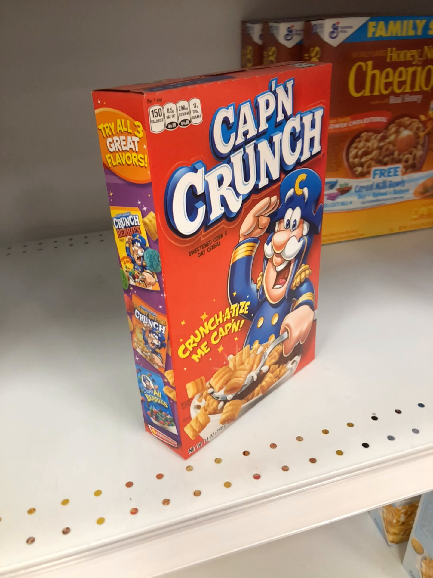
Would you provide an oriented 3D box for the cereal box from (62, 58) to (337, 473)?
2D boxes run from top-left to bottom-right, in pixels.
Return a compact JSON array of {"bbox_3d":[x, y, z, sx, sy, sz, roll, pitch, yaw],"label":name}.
[{"bbox_3d":[0.005,-0.025,0.428,0.210,0.309,0.070,-27,38,-37],"label":"cereal box"}]
